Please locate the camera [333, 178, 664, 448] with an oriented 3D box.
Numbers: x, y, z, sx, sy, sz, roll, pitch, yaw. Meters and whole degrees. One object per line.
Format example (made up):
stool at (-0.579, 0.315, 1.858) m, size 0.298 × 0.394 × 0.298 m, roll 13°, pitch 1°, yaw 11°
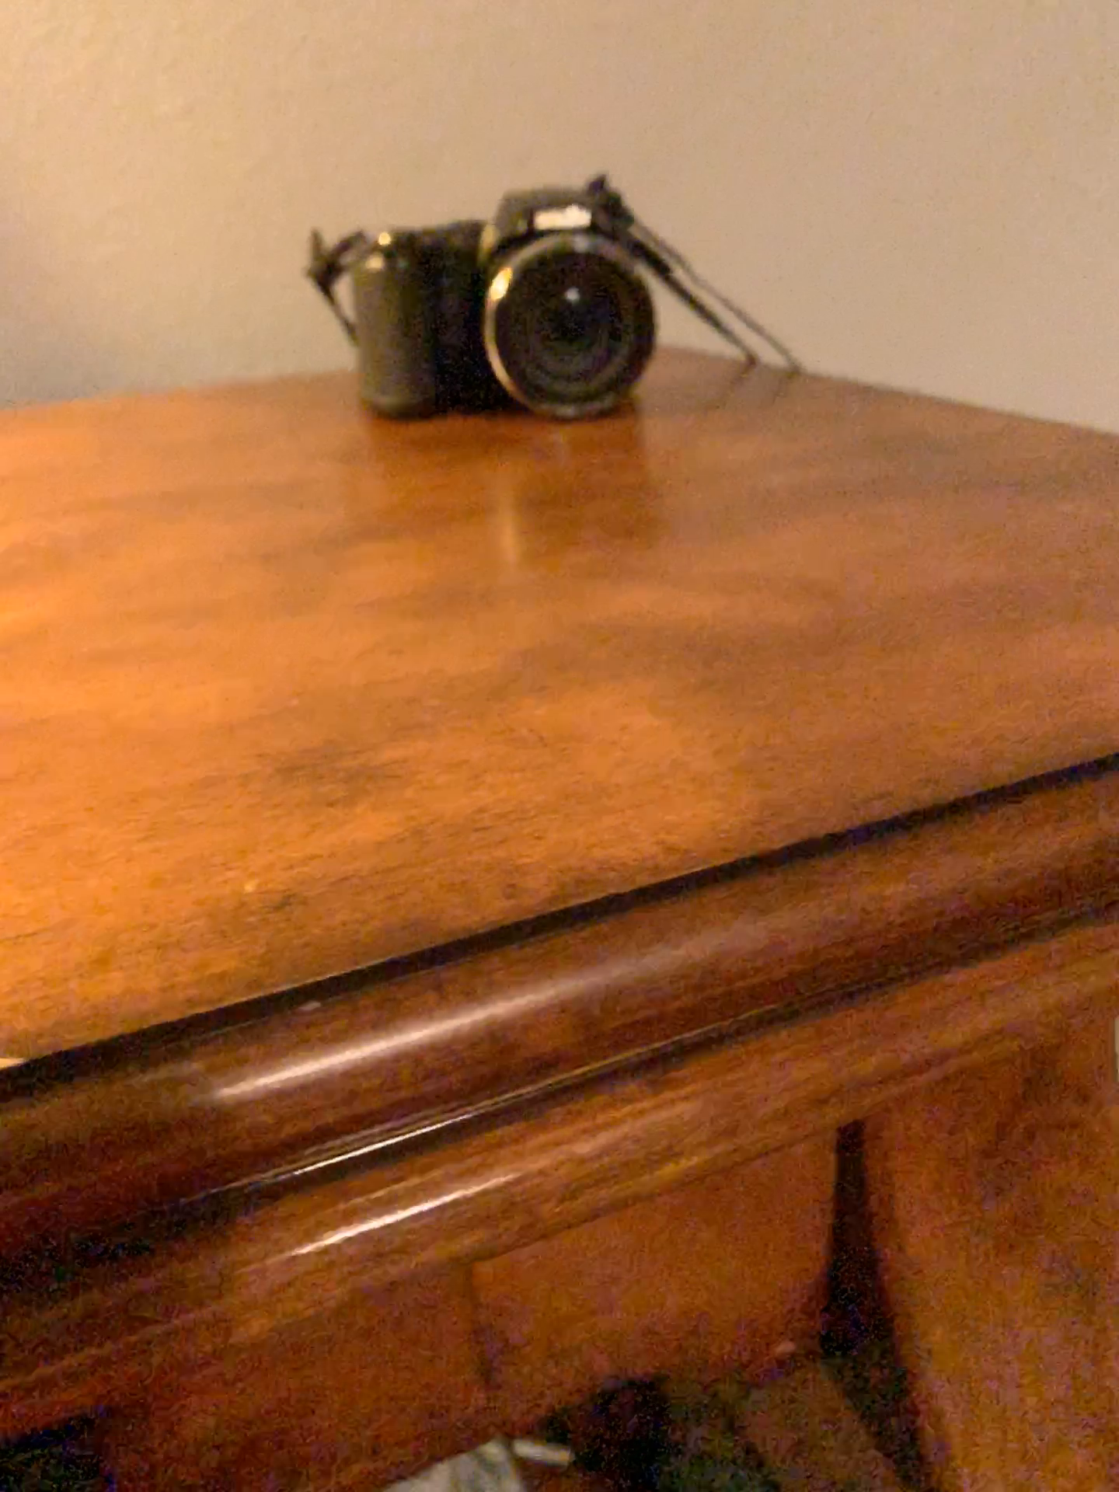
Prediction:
camera at (-0.026, -0.176, 0.472) m, size 0.110 × 0.081 × 0.123 m, roll -7°, pitch 24°, yaw -5°
